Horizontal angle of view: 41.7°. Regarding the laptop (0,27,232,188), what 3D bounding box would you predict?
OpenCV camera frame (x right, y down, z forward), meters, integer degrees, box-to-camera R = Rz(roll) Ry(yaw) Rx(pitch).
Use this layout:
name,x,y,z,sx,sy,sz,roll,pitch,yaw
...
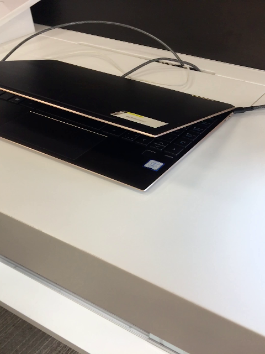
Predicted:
name,x,y,z,sx,sy,sz,roll,pitch,yaw
laptop,-0.080,-0.118,0.484,0.328,0.073,0.207,23,49,25
